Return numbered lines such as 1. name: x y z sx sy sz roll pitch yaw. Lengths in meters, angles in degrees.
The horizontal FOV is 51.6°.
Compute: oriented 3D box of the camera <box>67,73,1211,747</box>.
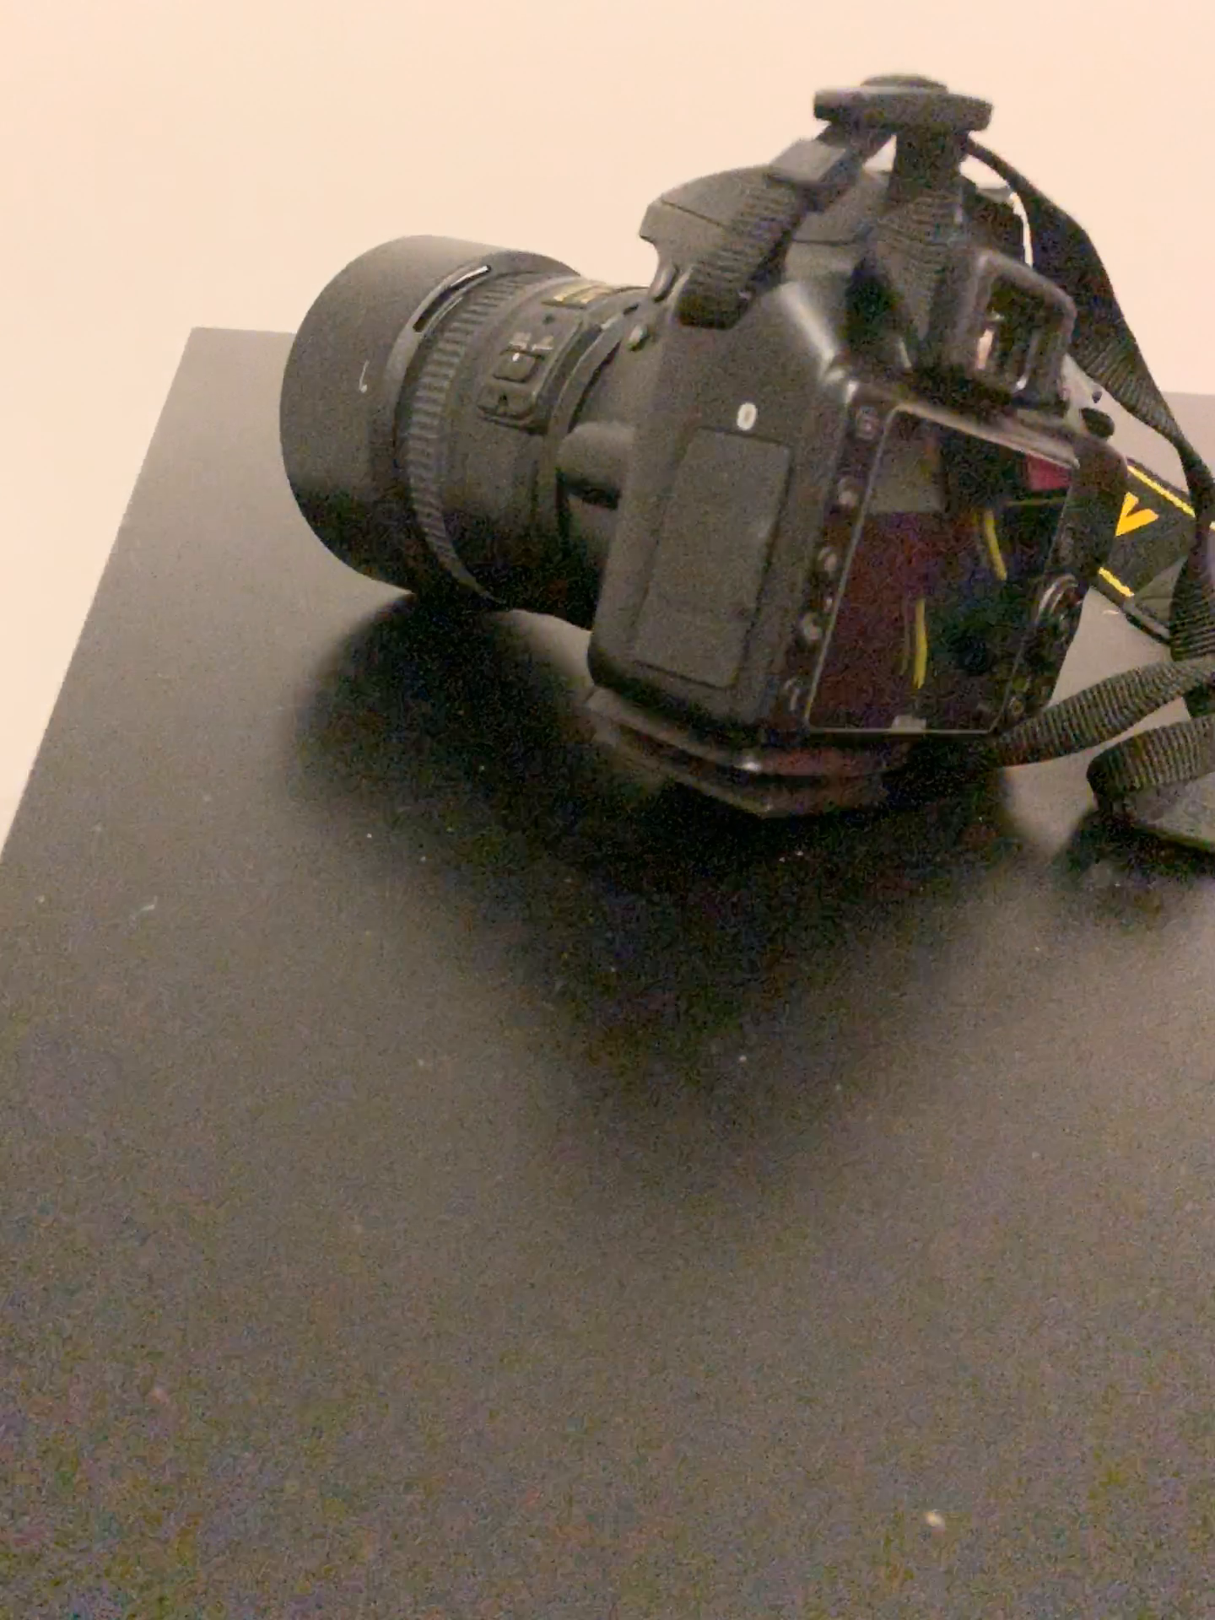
1. camera: -0.009 -0.092 0.281 0.220 0.089 0.116 26 19 38
